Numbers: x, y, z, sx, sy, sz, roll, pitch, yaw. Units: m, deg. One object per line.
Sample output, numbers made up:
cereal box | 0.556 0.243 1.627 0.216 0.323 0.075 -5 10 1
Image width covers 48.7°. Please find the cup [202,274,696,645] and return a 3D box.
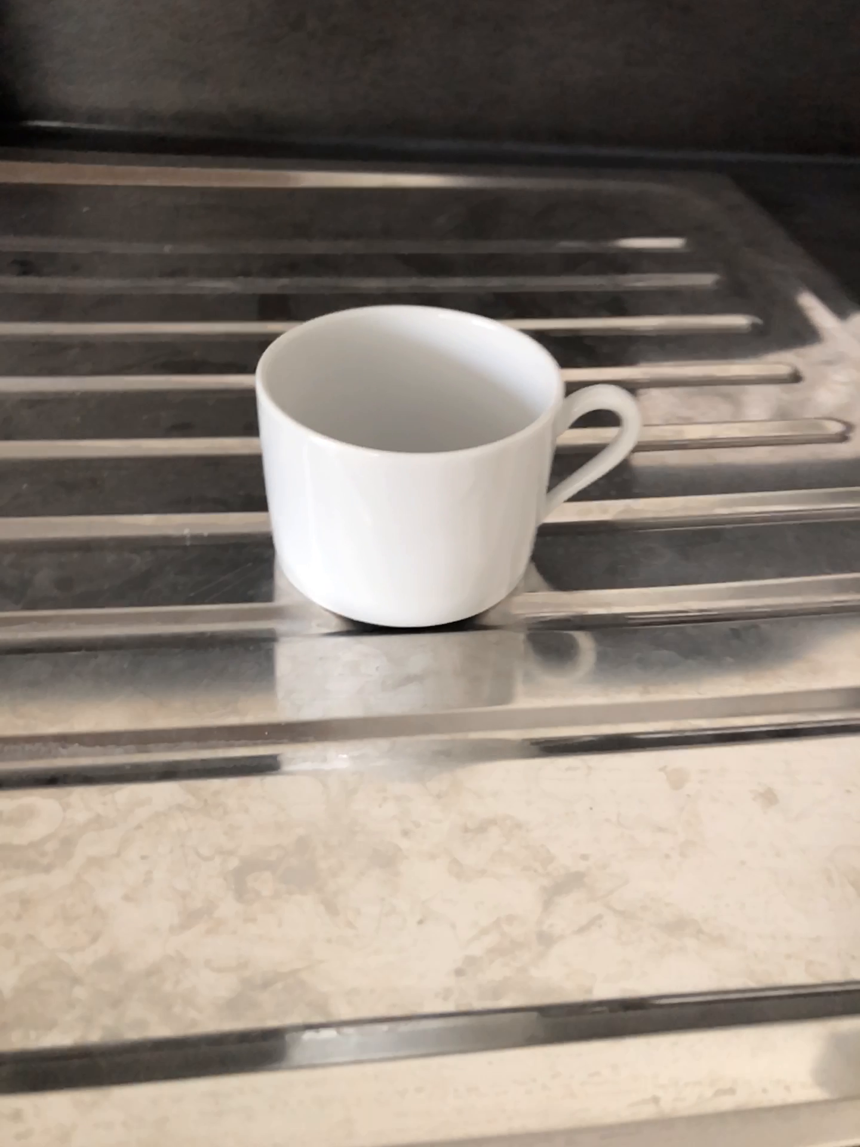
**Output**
cup | 0.003 -0.033 0.261 0.110 0.060 0.080 4 39 -2
